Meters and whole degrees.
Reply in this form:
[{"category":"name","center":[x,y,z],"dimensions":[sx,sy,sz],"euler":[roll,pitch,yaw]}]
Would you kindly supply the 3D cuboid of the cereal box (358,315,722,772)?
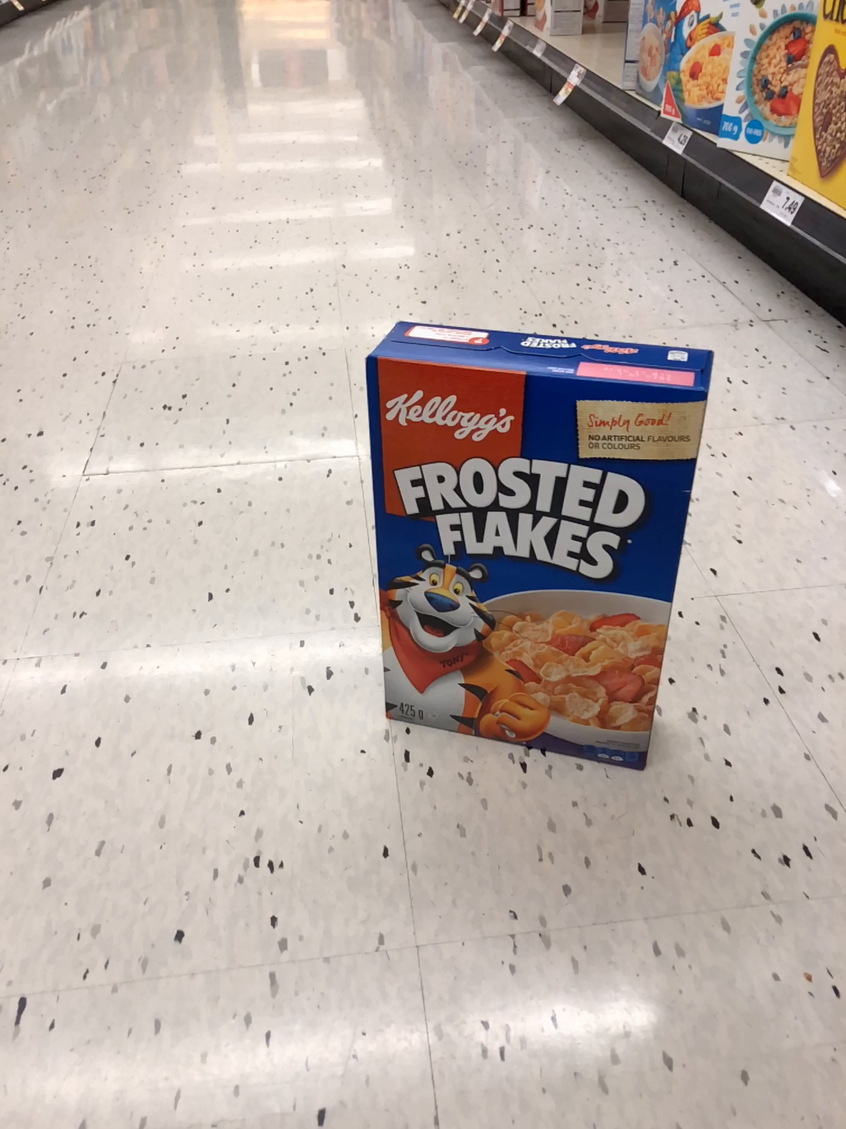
[{"category":"cereal box","center":[0.071,-0.006,0.621],"dimensions":[0.200,0.288,0.070],"euler":[9,37,14]}]
